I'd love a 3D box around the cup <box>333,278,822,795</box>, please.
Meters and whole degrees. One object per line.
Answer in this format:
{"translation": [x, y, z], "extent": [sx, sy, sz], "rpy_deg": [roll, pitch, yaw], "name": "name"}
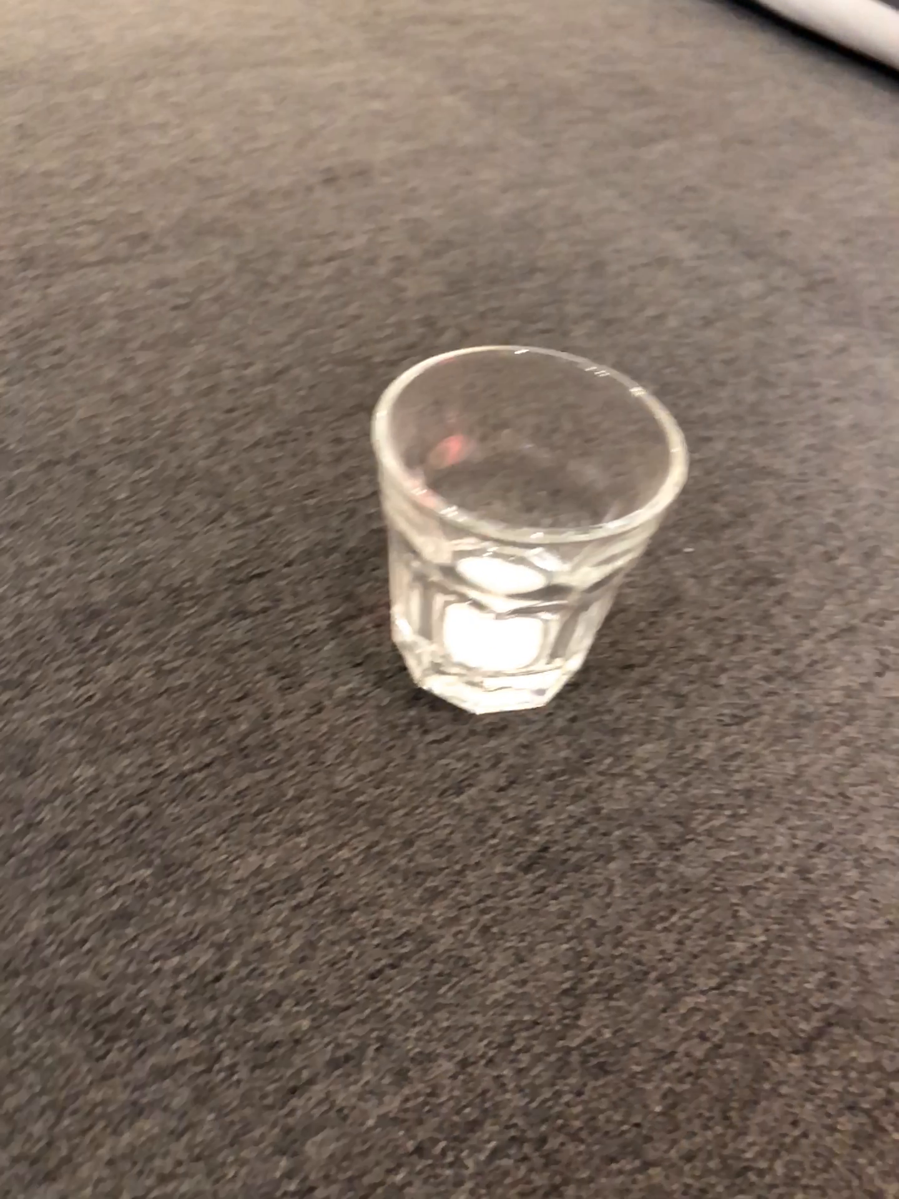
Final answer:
{"translation": [0.022, -0.014, 0.184], "extent": [0.060, 0.050, 0.060], "rpy_deg": [6, 45, -6], "name": "cup"}
